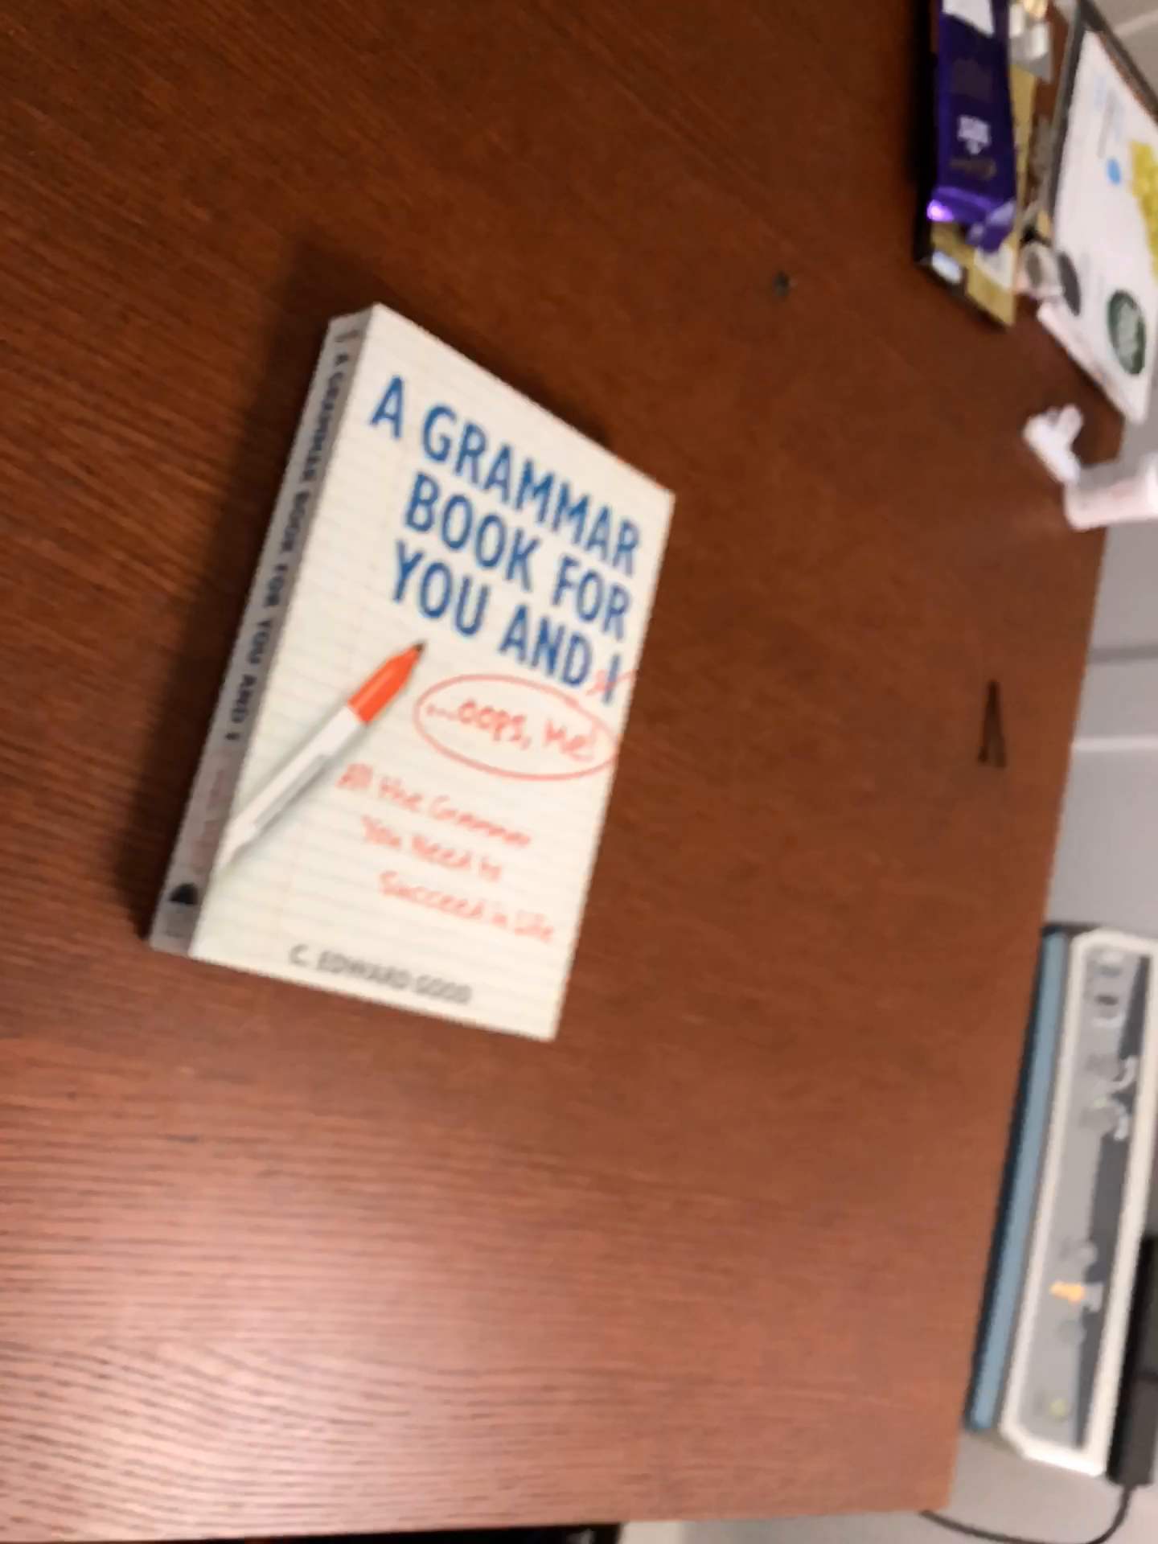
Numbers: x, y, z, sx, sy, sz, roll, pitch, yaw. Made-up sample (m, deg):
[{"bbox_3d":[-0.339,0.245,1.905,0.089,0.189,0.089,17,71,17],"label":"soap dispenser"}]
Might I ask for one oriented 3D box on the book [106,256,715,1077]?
[{"bbox_3d":[-0.045,-0.028,0.466,0.171,0.040,0.240,24,74,-39],"label":"book"}]
